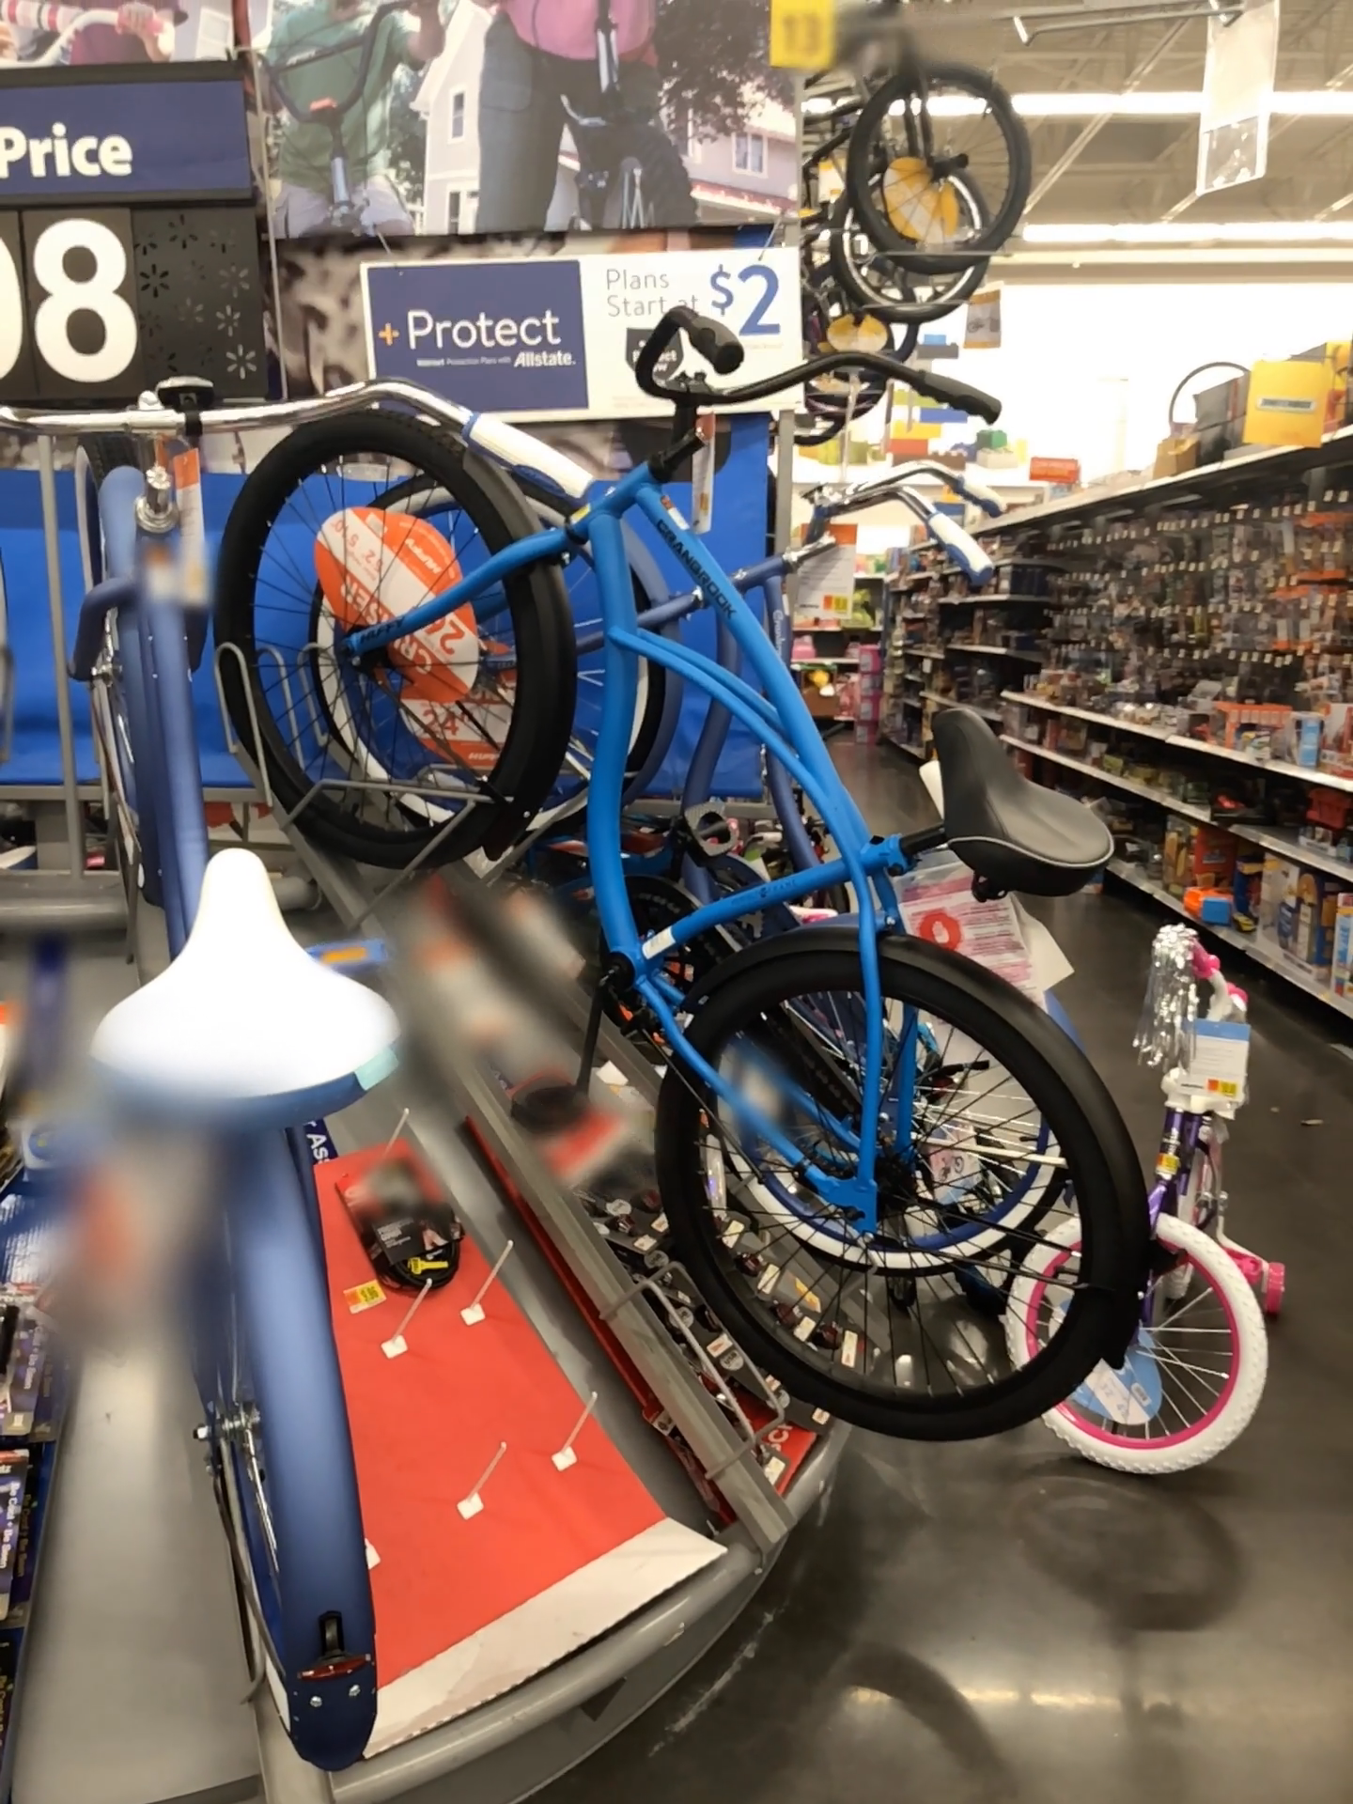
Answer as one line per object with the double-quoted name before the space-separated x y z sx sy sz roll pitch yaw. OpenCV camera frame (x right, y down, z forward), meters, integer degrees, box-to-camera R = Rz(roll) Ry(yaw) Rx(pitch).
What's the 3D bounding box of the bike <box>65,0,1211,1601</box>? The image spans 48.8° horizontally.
"bike" -0.045 -0.520 1.817 1.559 1.123 0.506 33 23 20
